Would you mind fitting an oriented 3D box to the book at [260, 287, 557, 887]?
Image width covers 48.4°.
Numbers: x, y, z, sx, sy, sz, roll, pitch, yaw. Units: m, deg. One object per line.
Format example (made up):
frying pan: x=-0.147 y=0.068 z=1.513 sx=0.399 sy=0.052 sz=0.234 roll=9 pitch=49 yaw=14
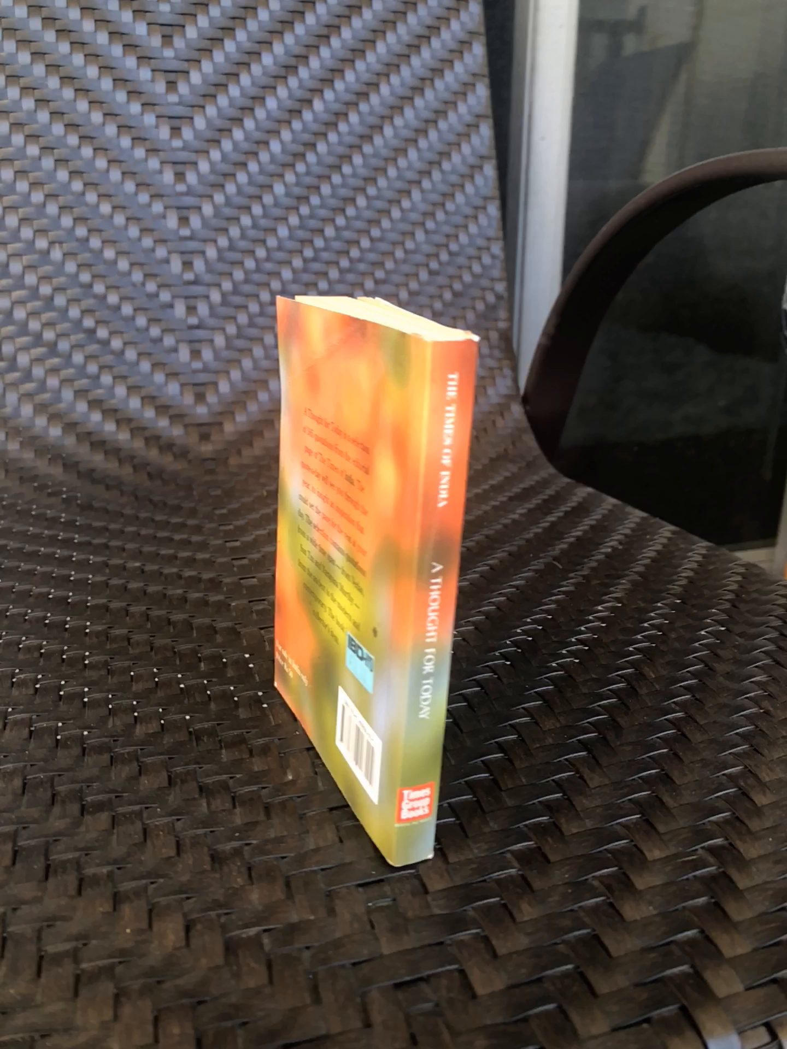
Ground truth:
book: x=-0.006 y=0.007 z=0.240 sx=0.031 sy=0.129 sz=0.106 roll=-6 pitch=22 yaw=-24
